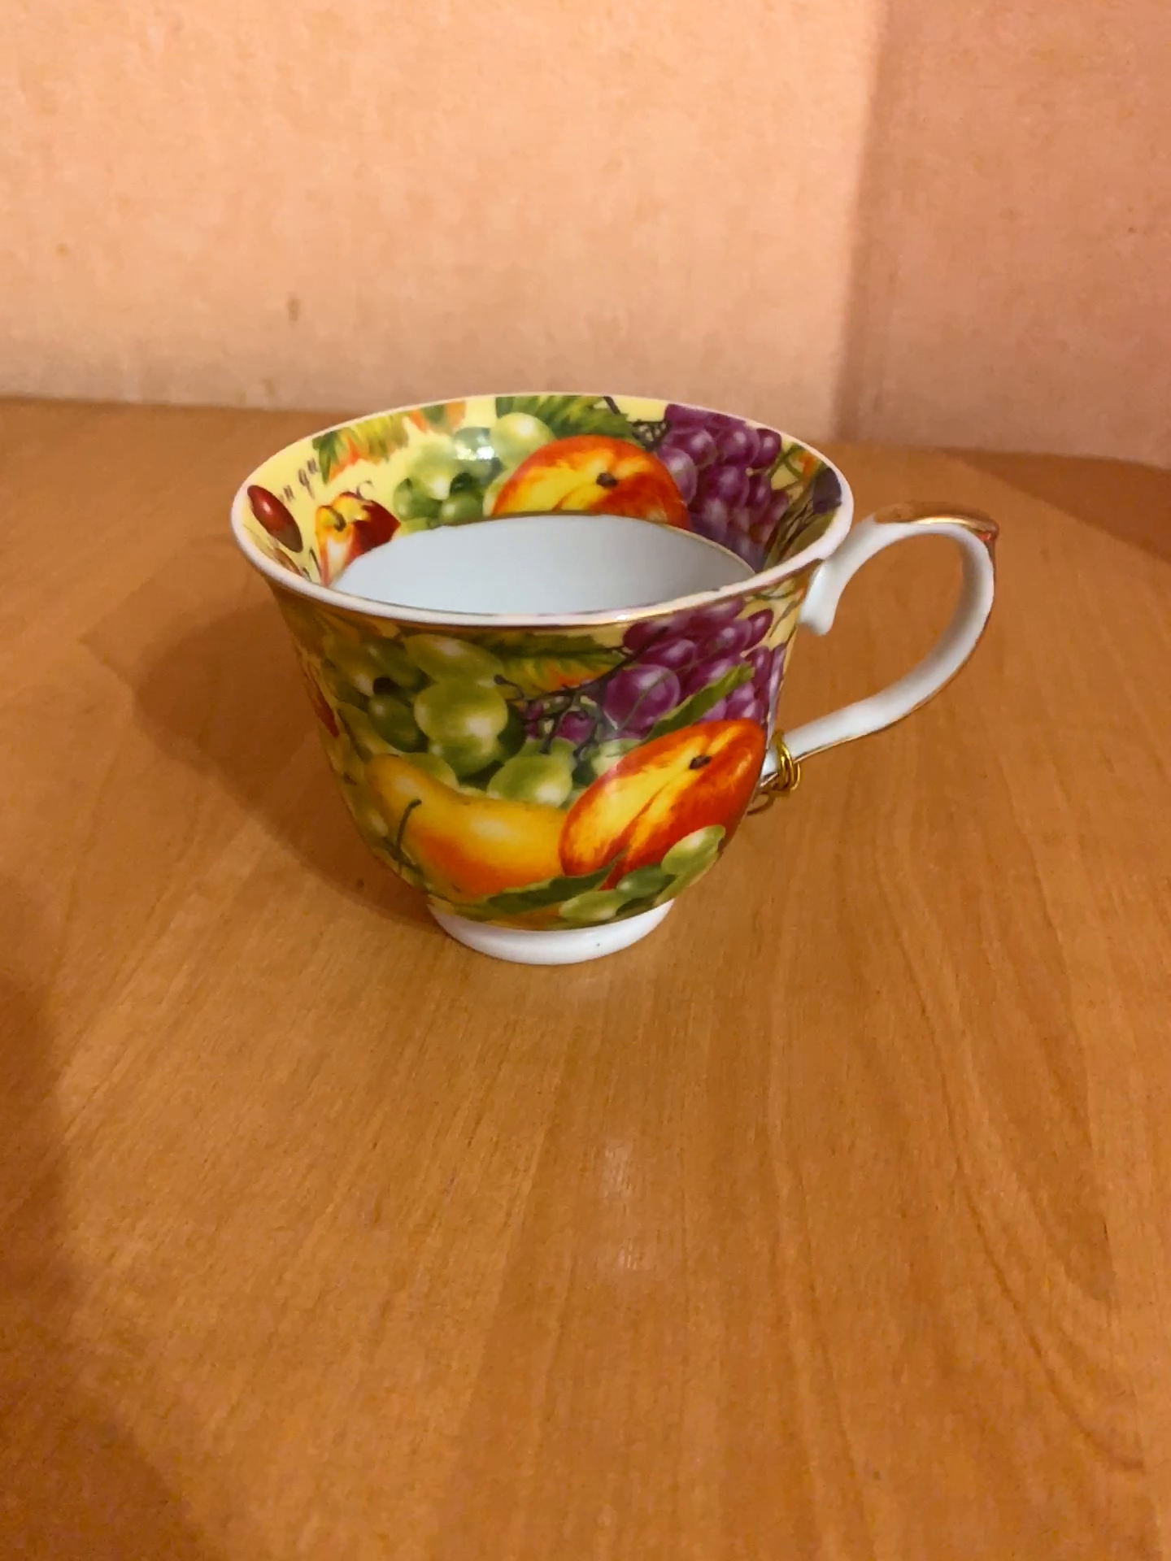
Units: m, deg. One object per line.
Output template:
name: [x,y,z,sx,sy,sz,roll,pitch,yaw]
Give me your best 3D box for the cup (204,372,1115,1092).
cup: [0.004,-0.014,0.194,0.106,0.071,0.086,-5,34,-7]
